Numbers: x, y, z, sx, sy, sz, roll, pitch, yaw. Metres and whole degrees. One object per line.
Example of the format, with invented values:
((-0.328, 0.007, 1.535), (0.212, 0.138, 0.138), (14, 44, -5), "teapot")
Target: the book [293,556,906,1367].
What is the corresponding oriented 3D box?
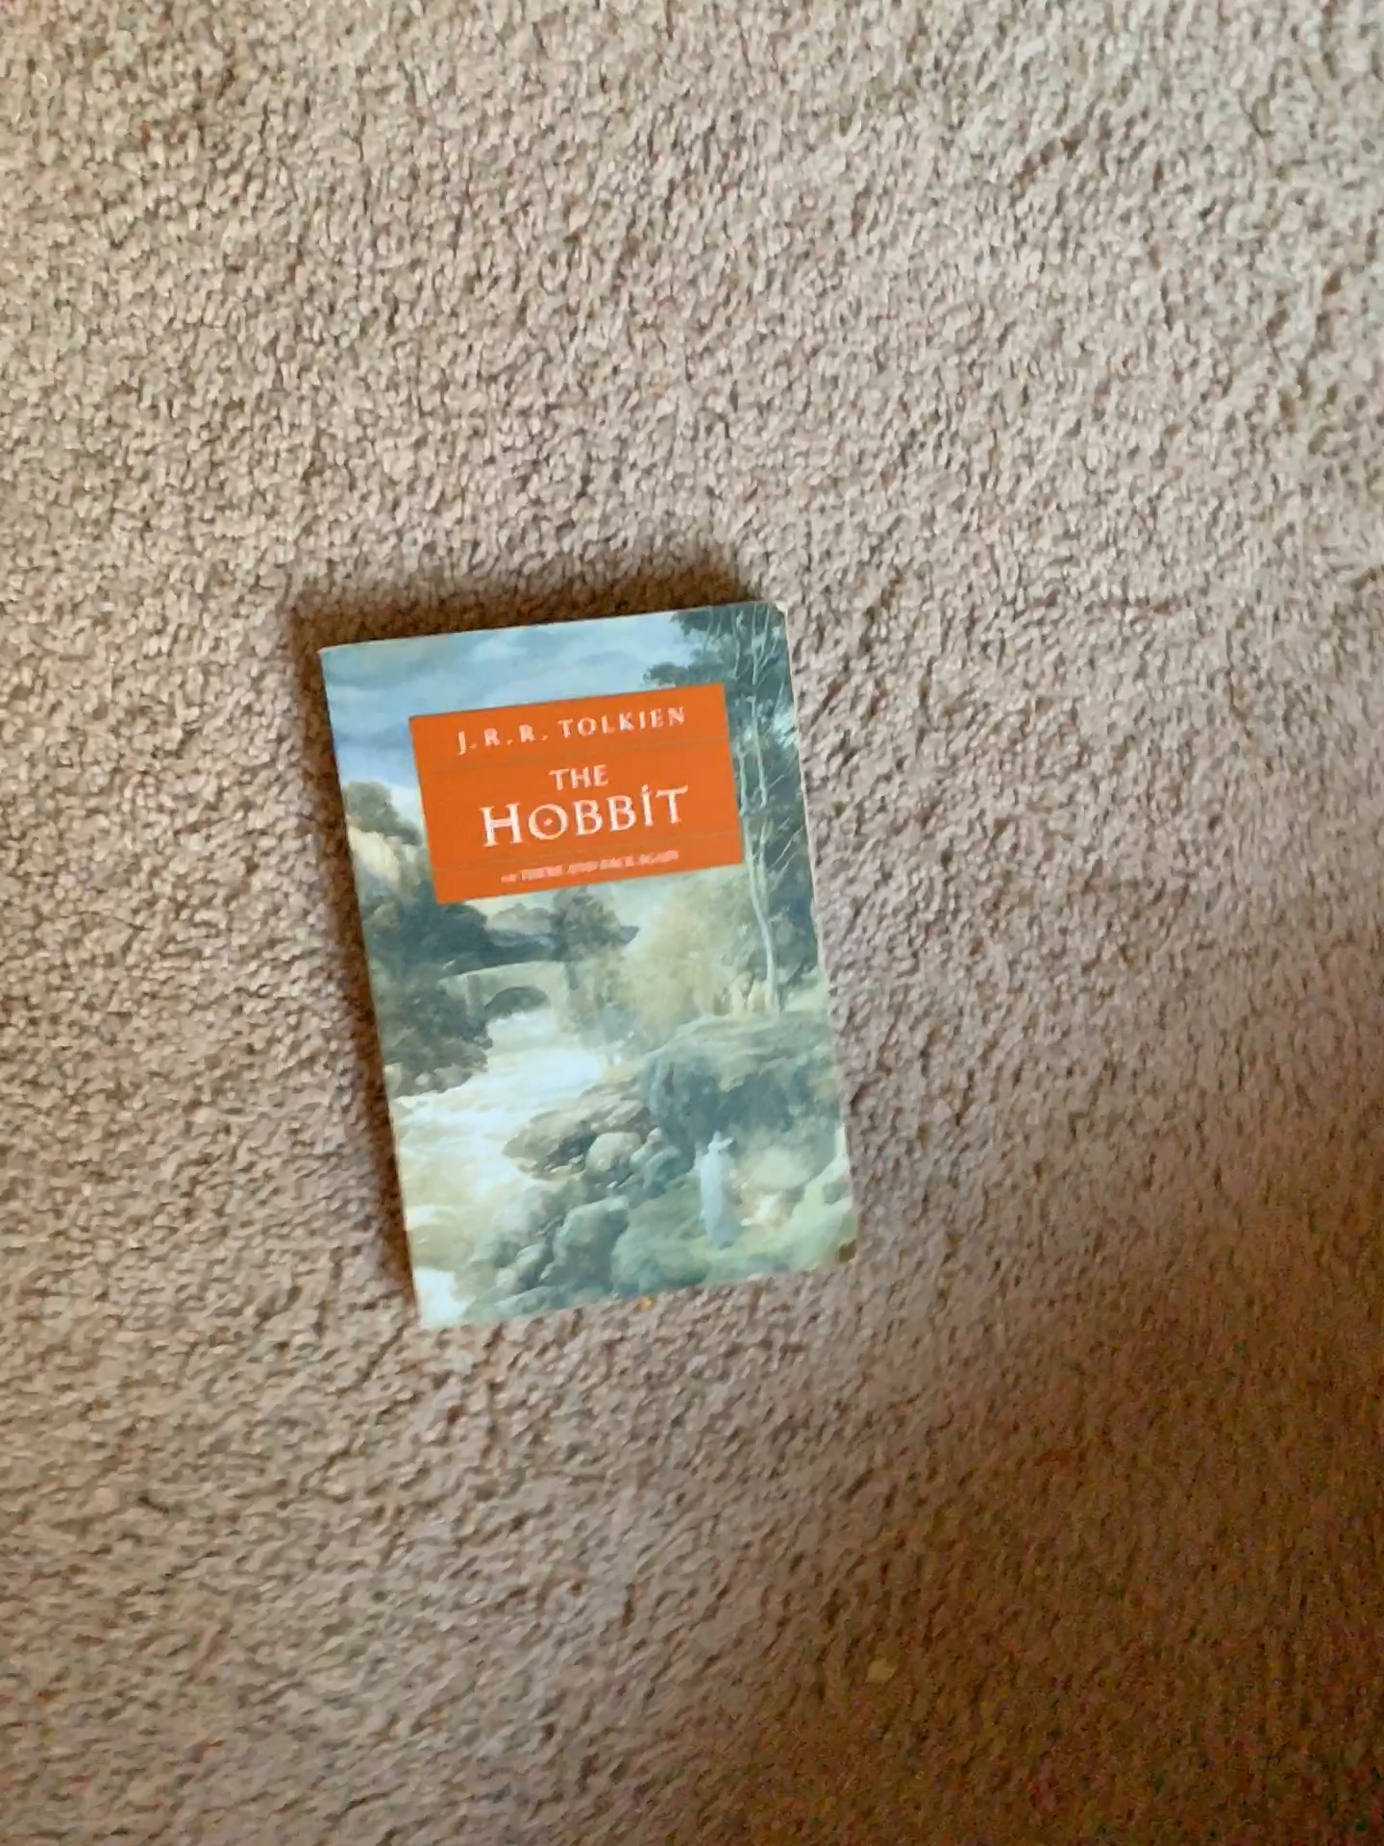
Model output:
((-0.027, 0.010, 0.435), (0.150, 0.030, 0.220), (-9, 91, -7), "book")
